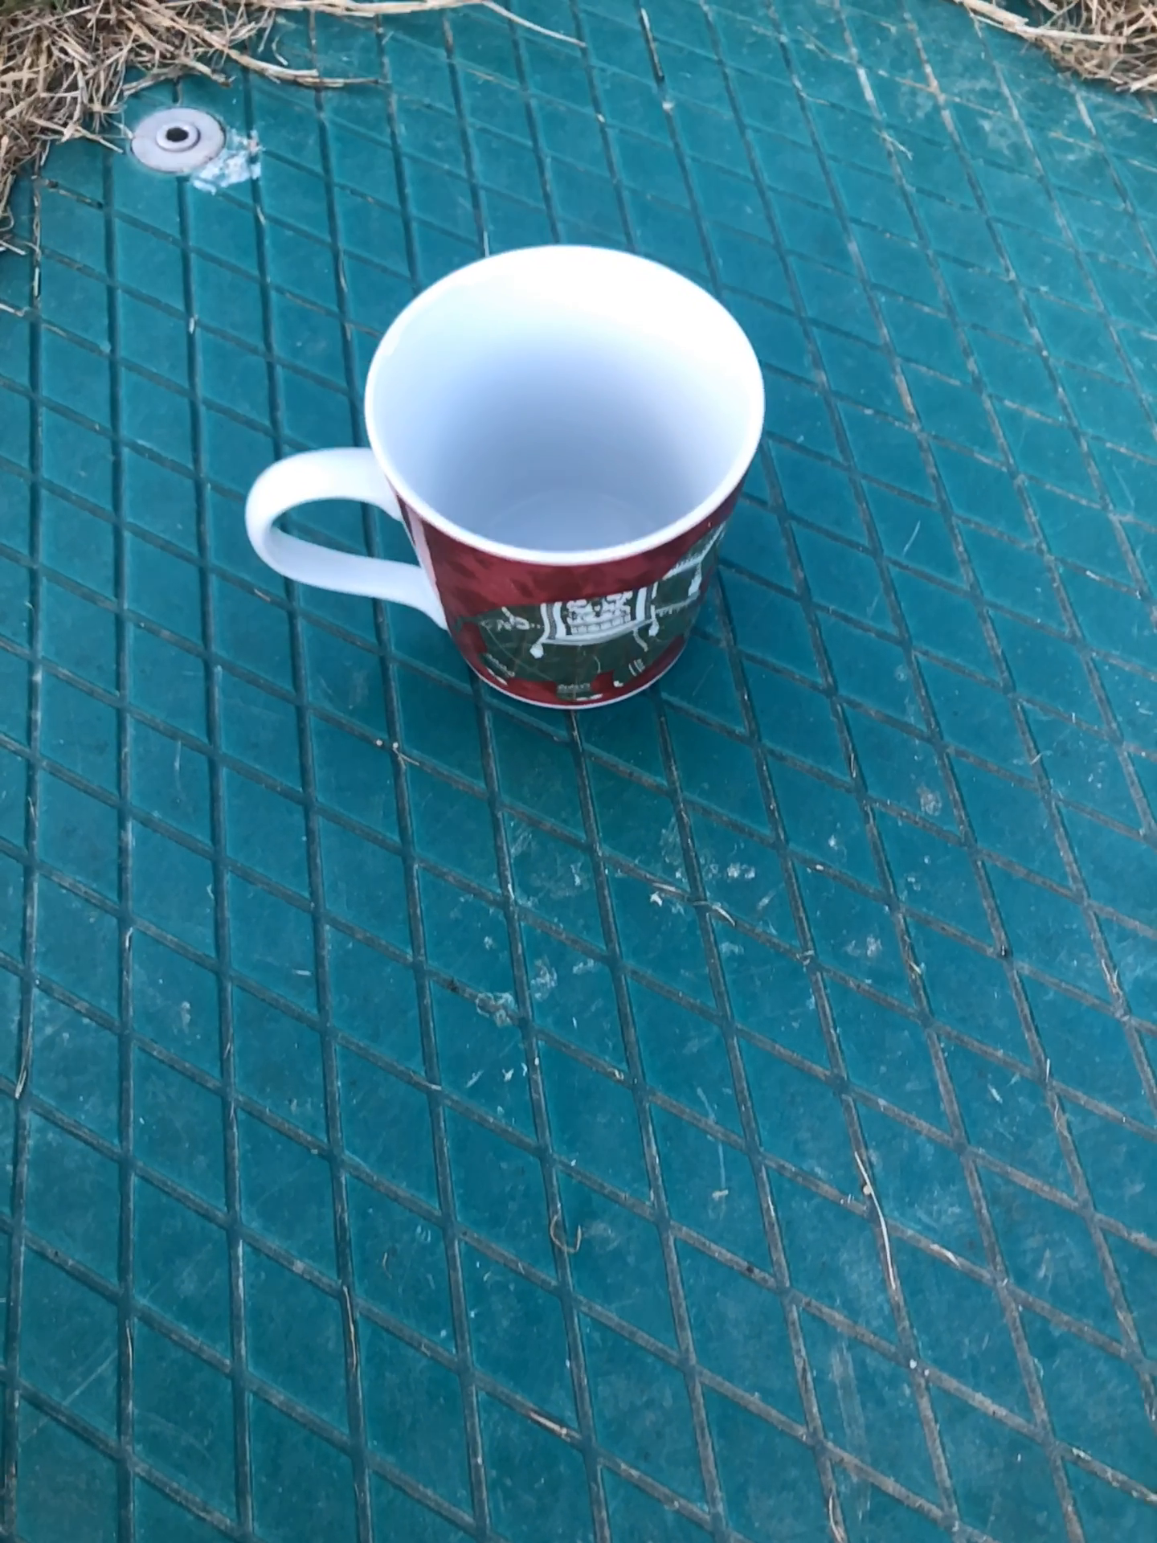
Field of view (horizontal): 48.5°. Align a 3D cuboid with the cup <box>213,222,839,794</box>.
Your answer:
[{"bbox_3d":[-0.013,-0.055,0.281,0.110,0.070,0.082,-9,64,-4],"label":"cup"}]
